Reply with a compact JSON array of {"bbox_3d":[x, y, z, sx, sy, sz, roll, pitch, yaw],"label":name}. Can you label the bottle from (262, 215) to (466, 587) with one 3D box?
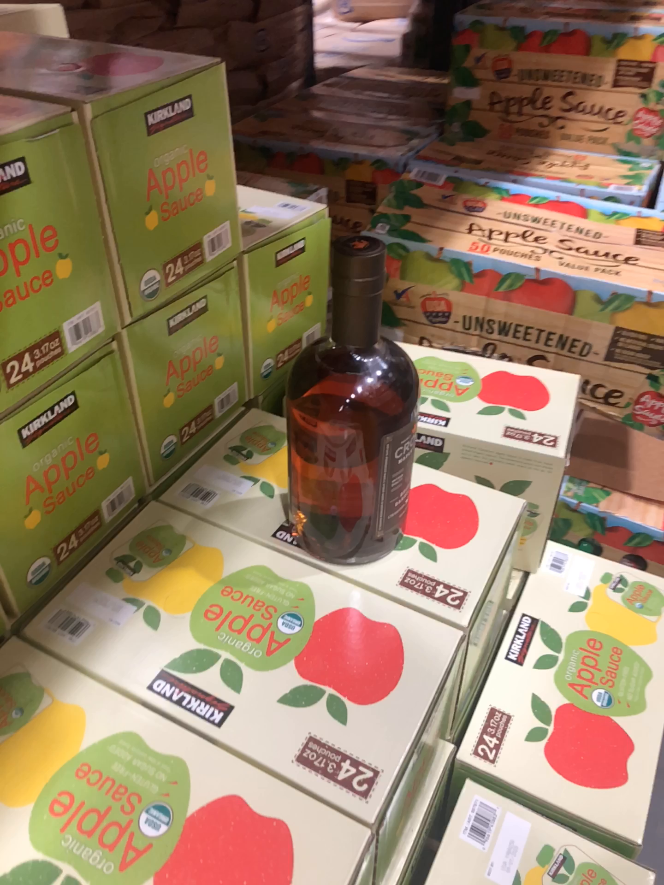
[{"bbox_3d":[0.022,-0.024,0.496,0.090,0.219,0.100,15,40,19],"label":"bottle"}]
